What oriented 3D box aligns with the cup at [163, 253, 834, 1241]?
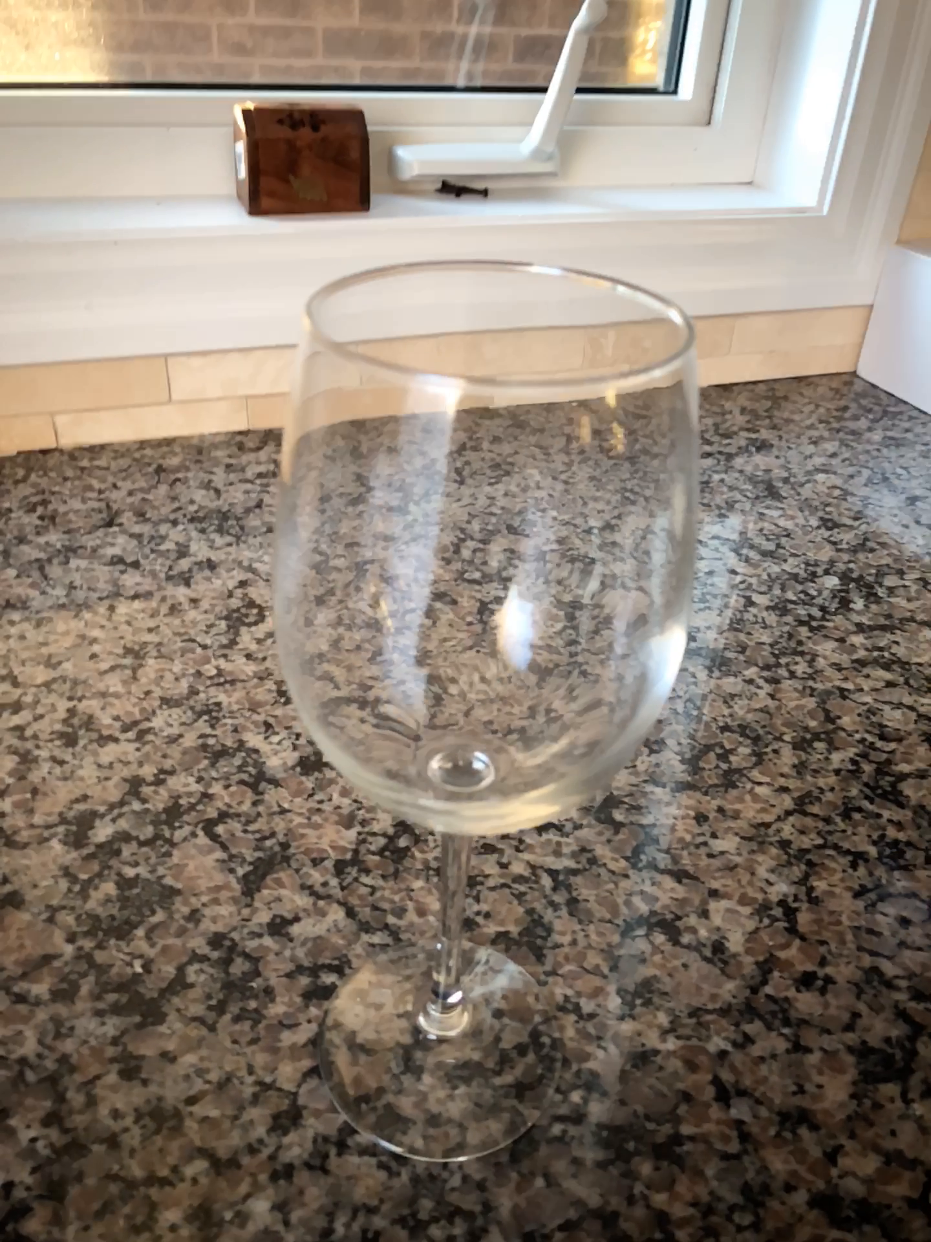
[{"bbox_3d":[-0.008,0.038,0.244,0.095,0.217,0.097,2,33,-2],"label":"cup"}]
